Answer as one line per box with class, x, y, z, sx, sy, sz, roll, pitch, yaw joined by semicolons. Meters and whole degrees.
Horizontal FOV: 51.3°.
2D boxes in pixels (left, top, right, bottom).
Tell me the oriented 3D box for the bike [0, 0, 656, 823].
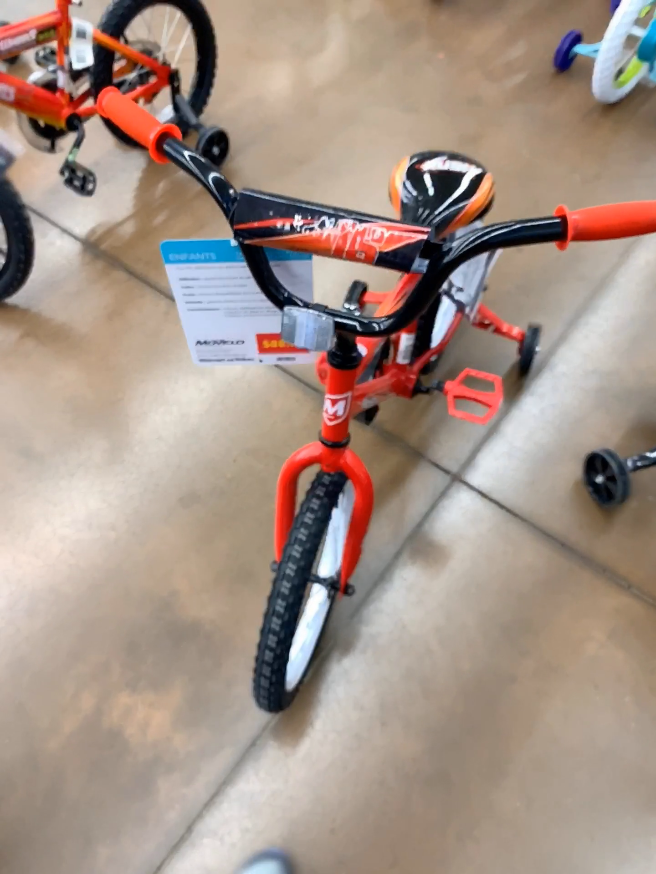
bike;0.122;-0.153;1.025;0.585;0.850;1.073;18;58;12
